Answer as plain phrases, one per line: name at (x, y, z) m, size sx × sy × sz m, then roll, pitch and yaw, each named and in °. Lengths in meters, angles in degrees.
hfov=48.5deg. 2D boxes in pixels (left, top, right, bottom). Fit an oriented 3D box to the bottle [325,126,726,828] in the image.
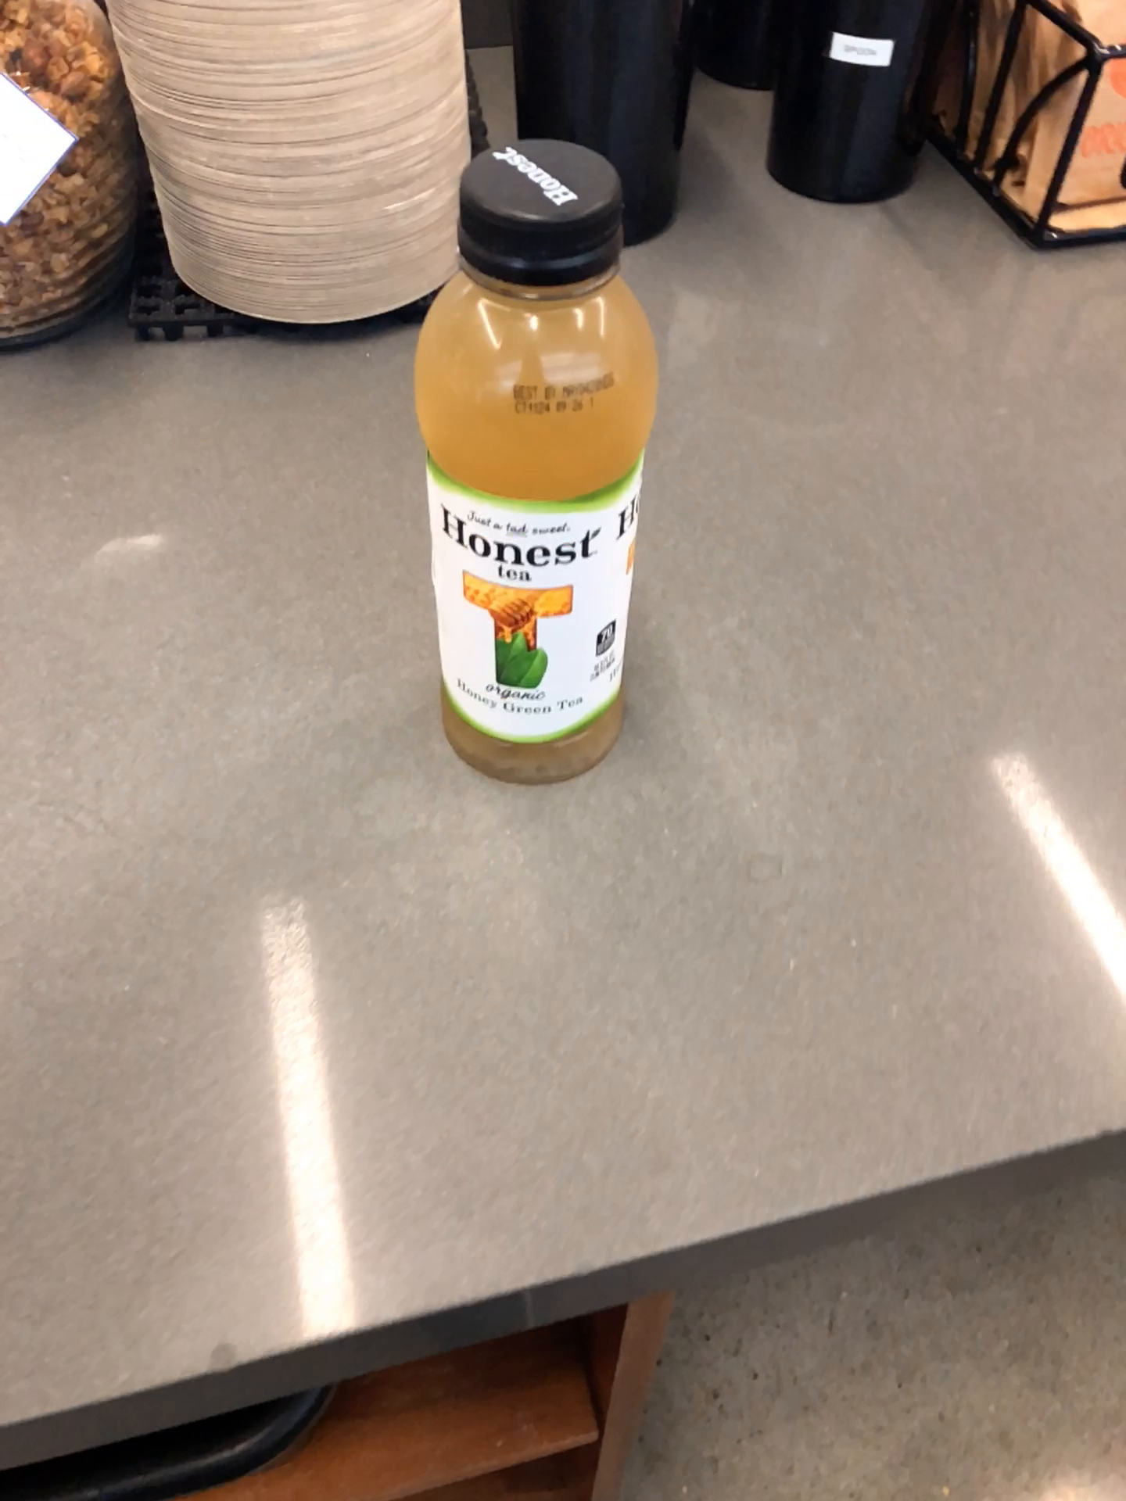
bottle at (-0.007, -0.072, 0.385) m, size 0.090 × 0.189 × 0.090 m, roll 1°, pitch 50°, yaw -1°
